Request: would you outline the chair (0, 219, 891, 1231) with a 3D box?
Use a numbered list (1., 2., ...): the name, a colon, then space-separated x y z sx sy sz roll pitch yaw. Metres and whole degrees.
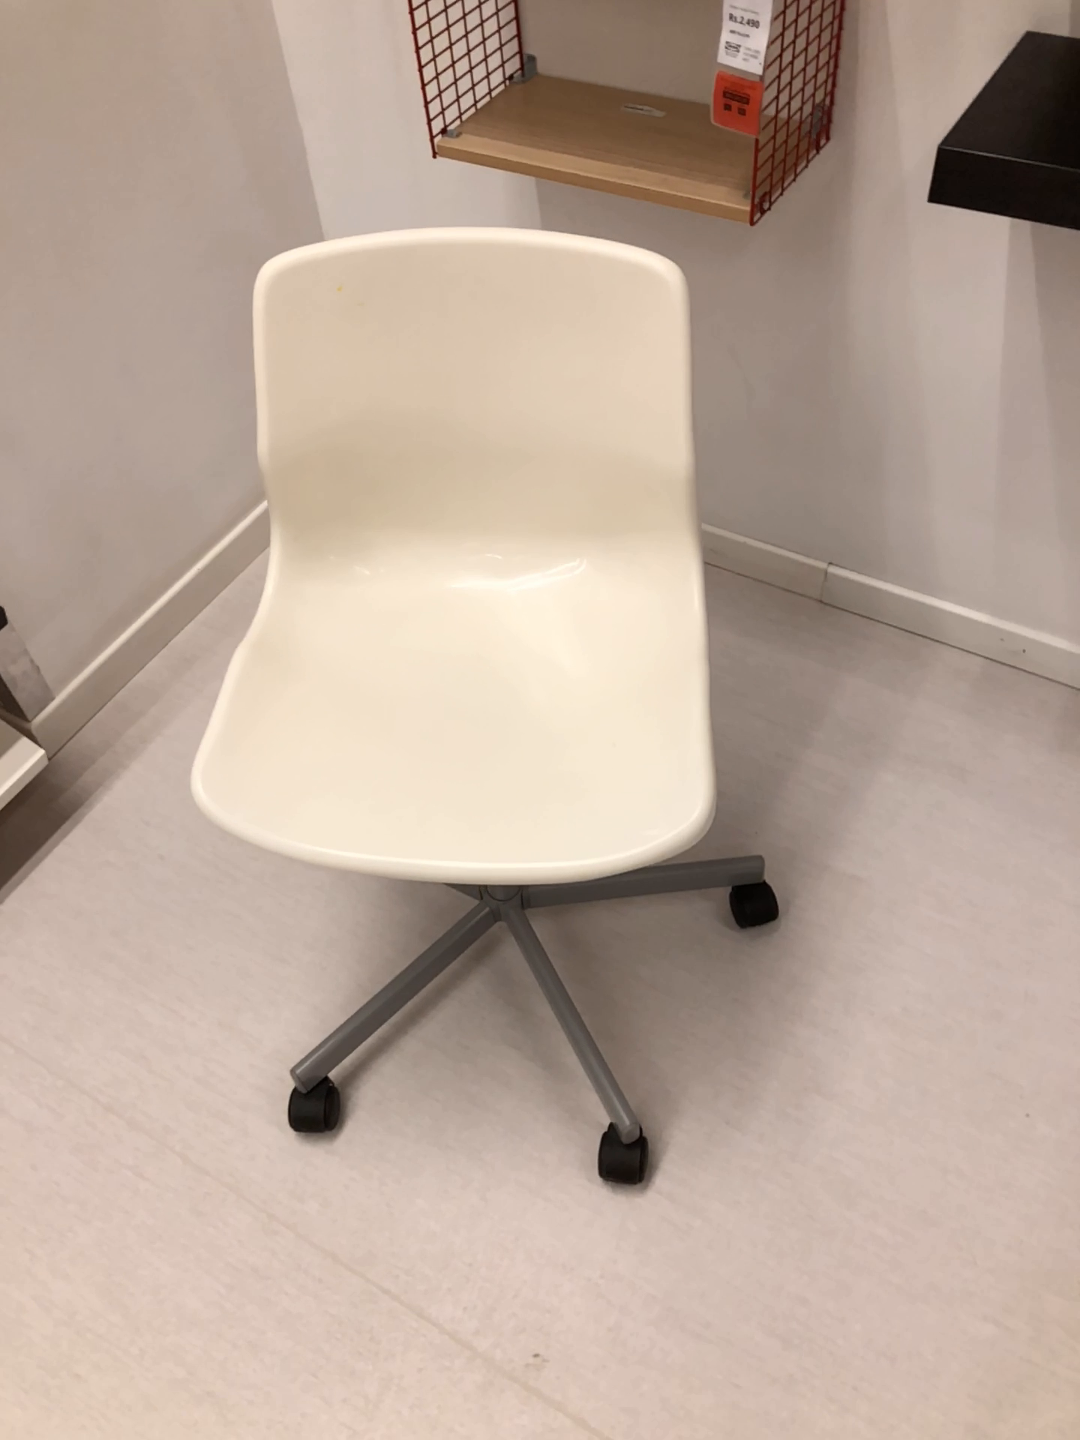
1. chair: -0.066 0.020 1.110 0.620 0.686 0.623 3 51 7
